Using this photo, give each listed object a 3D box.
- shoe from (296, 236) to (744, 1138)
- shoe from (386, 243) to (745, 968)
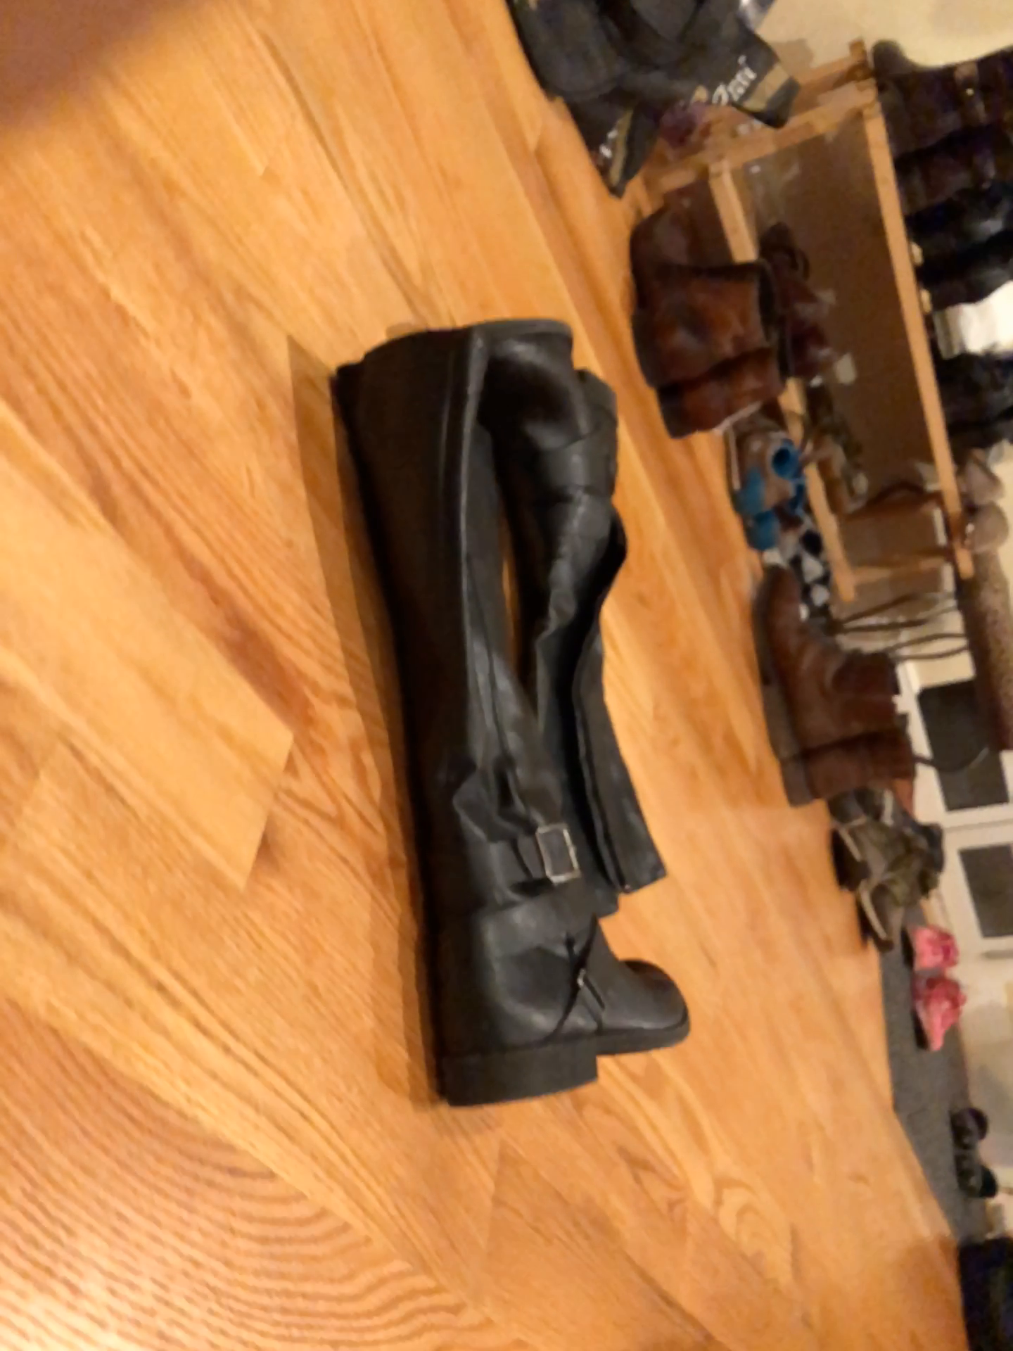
[{"bbox_3d":[0.021,0.017,0.644,0.291,0.104,0.403,19,62,-64],"label":"shoe"},{"bbox_3d":[0.046,-0.027,0.724,0.251,0.094,0.393,22,58,-64],"label":"shoe"}]
